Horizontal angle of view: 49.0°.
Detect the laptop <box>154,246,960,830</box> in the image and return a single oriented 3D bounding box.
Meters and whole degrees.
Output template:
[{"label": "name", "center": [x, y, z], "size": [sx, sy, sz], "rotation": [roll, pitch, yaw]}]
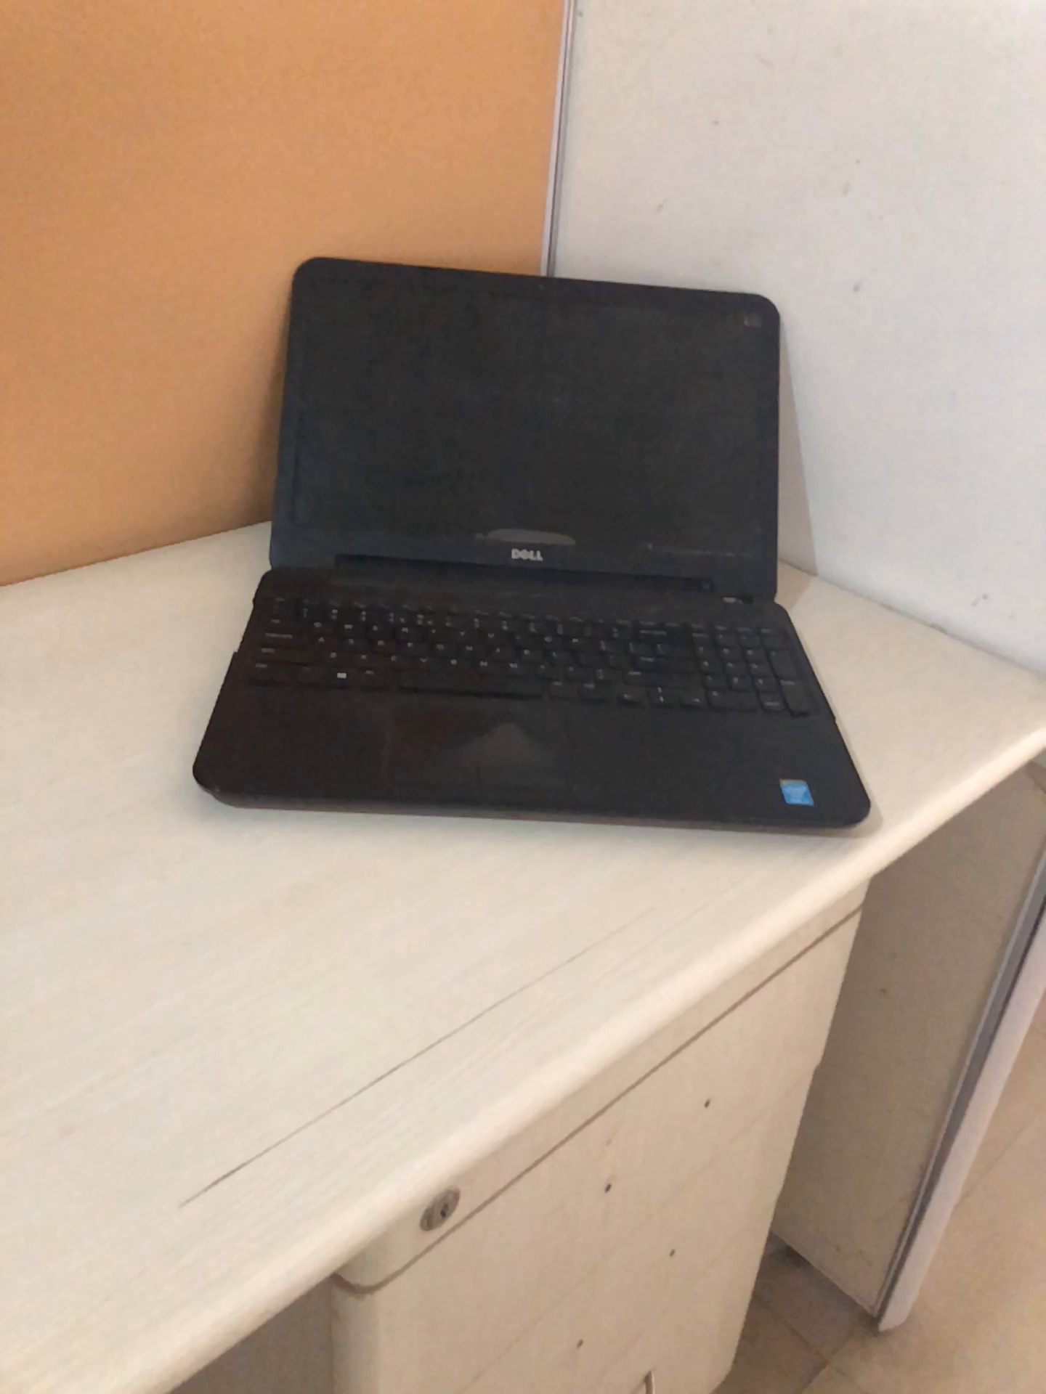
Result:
[{"label": "laptop", "center": [0.007, -0.131, 0.716], "size": [0.352, 0.174, 0.416], "rotation": [3, 32, -3]}]
